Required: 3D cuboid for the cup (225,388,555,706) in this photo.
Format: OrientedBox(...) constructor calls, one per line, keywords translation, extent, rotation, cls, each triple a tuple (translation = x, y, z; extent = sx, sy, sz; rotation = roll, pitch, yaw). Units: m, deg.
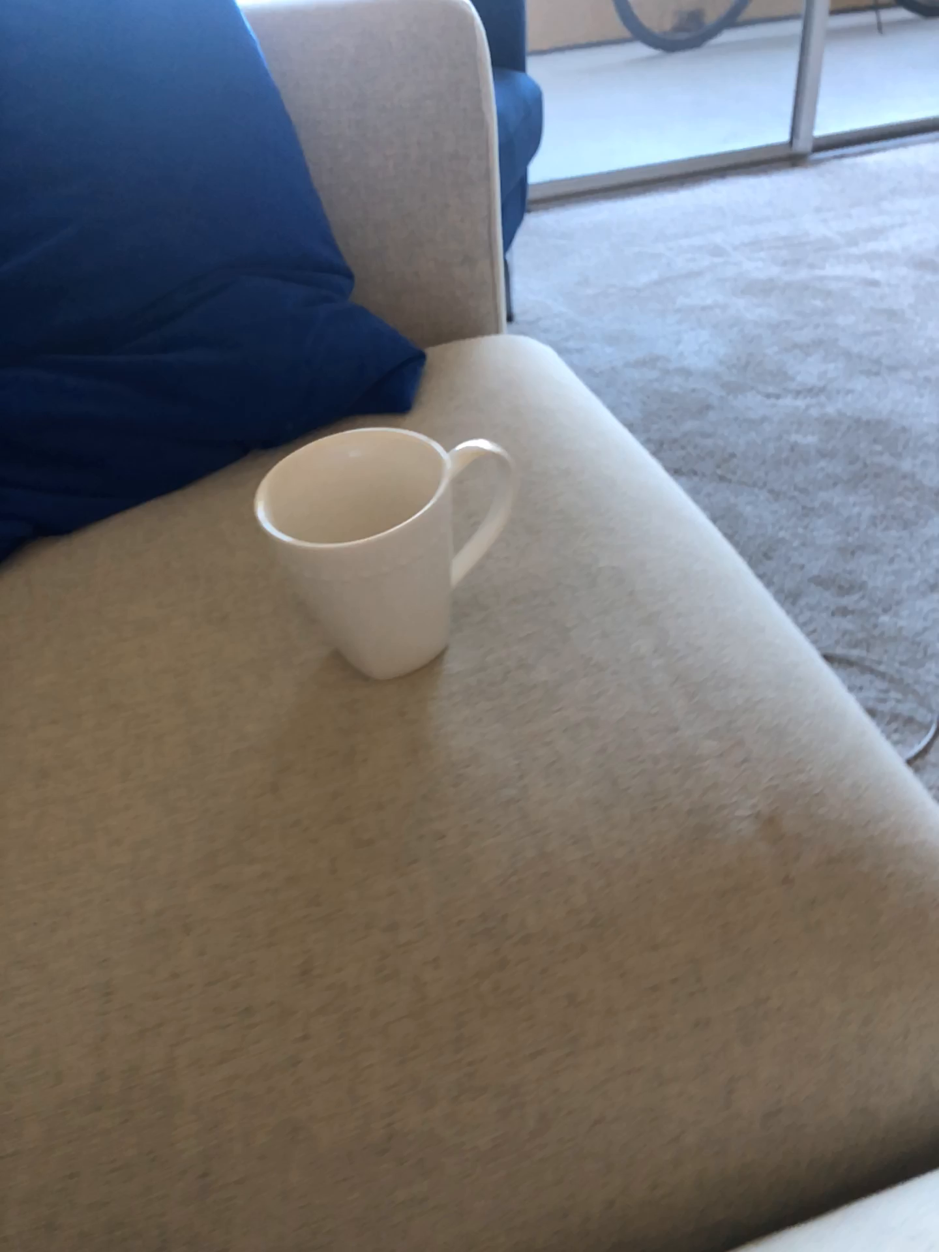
OrientedBox(translation=(-0.039, -0.044, 0.527), extent=(0.130, 0.090, 0.100), rotation=(-18, 40, -15), cls="cup")
